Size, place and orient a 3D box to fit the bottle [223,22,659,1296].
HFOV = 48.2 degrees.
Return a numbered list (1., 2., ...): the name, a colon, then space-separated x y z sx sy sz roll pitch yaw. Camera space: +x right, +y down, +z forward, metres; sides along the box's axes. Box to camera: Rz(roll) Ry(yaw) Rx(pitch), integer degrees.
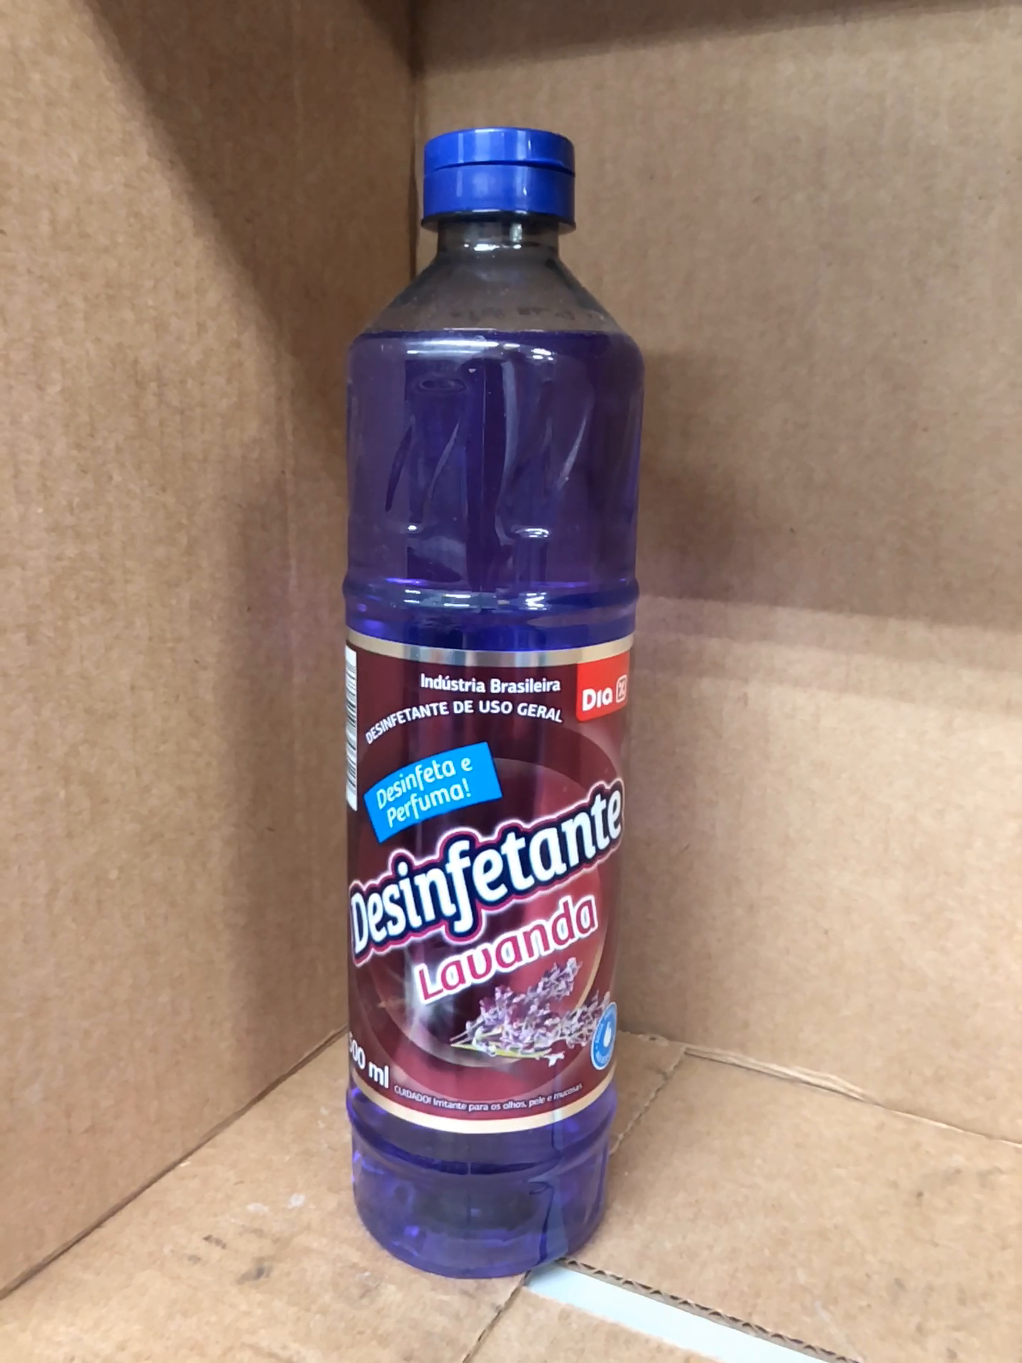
1. bottle: -0.014 0.002 0.245 0.070 0.239 0.070 0 13 0
